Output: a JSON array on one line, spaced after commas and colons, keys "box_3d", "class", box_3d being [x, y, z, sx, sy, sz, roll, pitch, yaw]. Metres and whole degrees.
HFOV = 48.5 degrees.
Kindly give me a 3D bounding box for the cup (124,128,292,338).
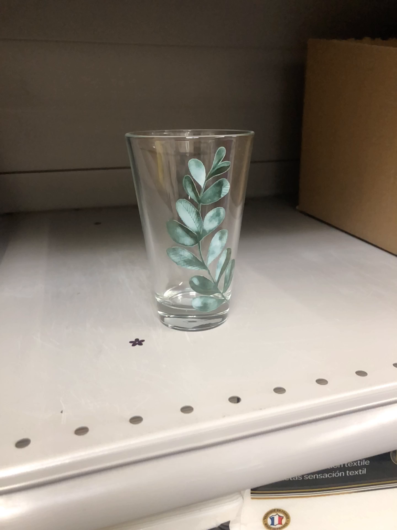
[{"box_3d": [0.001, -0.028, 0.287, 0.083, 0.114, 0.084, -1, 18, 0], "class": "cup"}]
